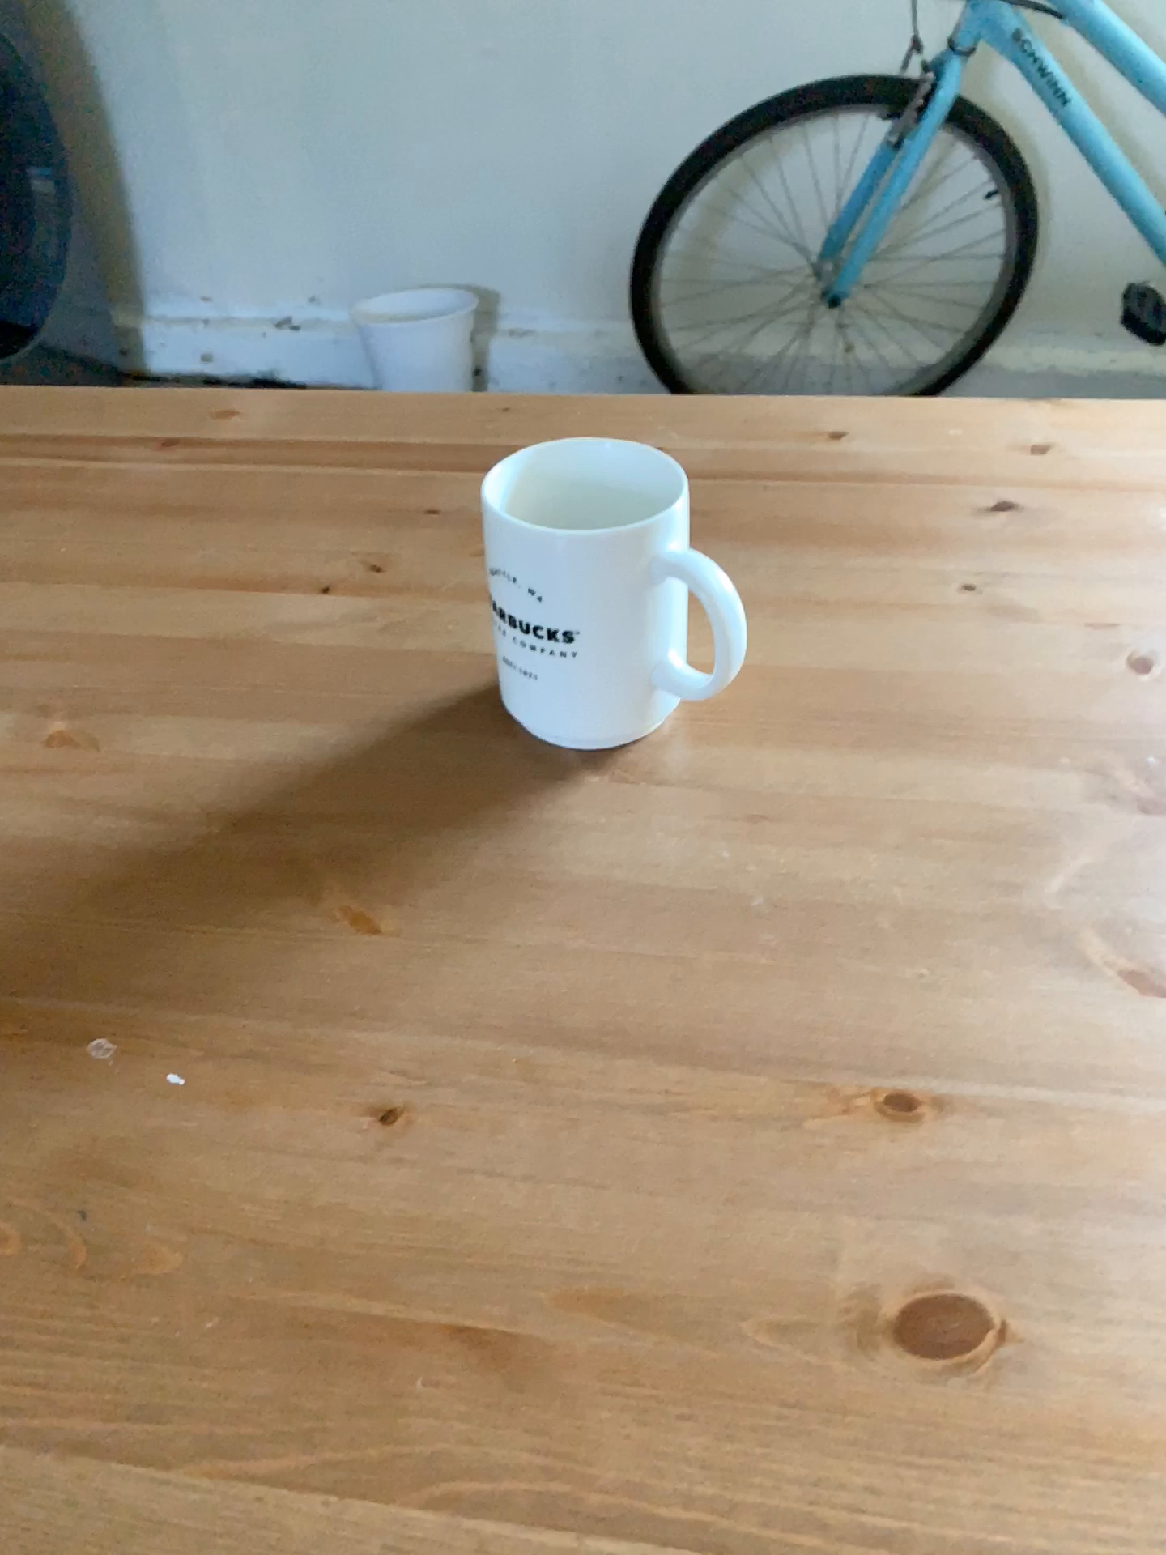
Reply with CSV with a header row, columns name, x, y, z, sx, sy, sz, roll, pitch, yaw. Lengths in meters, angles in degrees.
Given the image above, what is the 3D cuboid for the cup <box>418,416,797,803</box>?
name,x,y,z,sx,sy,sz,roll,pitch,yaw
cup,0.011,-0.072,0.488,0.120,0.099,0.080,25,48,30
